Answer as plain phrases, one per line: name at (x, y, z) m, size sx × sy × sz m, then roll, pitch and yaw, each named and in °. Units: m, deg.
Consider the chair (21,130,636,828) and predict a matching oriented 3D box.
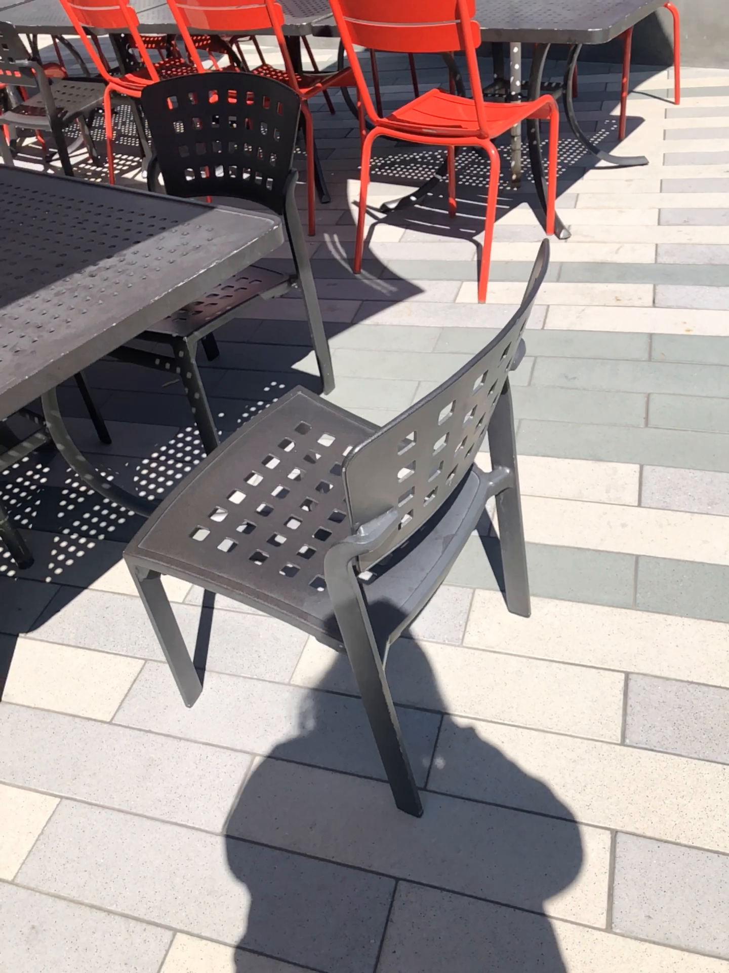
chair at (0.000, -0.020, 1.188) m, size 0.531 × 0.756 × 0.522 m, roll 18°, pitch 46°, yaw 22°
